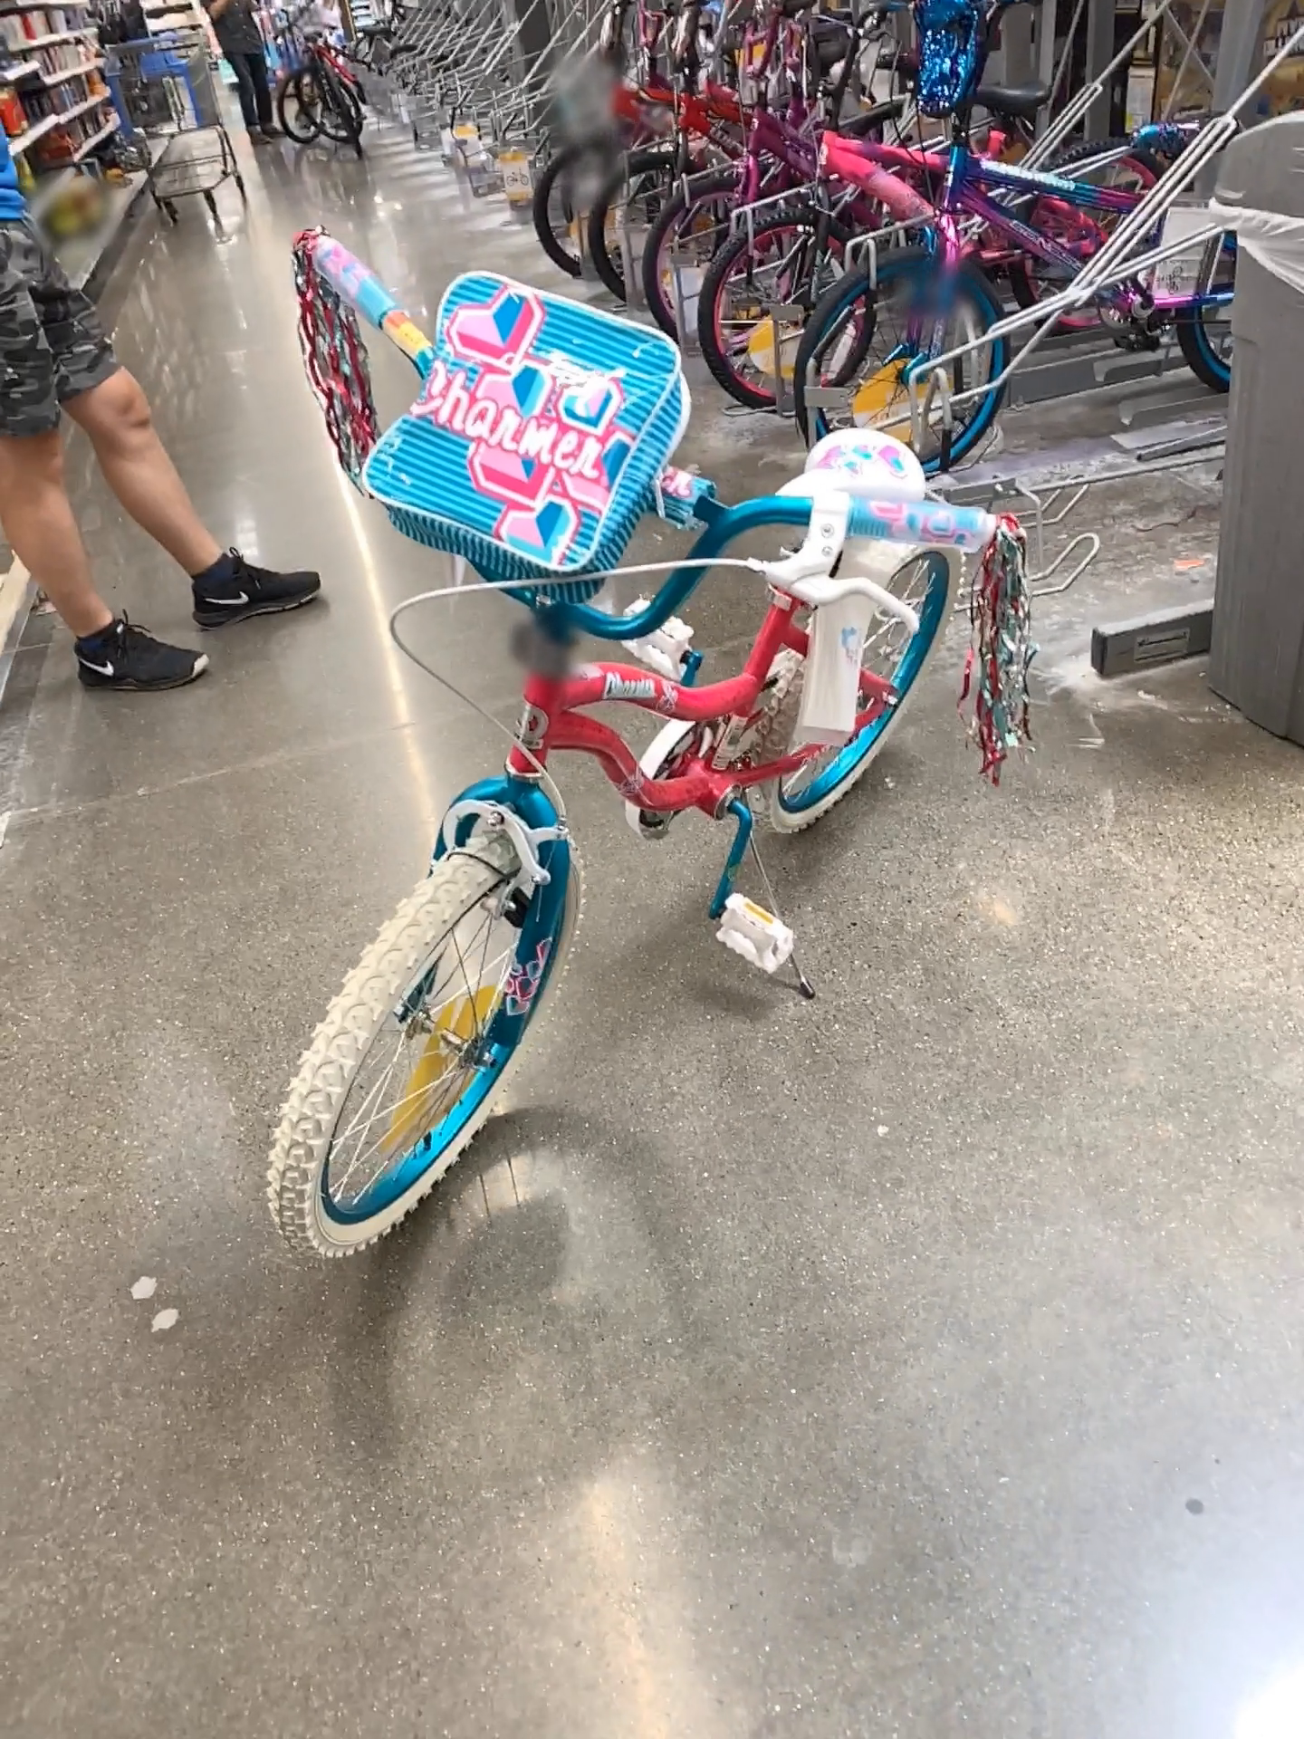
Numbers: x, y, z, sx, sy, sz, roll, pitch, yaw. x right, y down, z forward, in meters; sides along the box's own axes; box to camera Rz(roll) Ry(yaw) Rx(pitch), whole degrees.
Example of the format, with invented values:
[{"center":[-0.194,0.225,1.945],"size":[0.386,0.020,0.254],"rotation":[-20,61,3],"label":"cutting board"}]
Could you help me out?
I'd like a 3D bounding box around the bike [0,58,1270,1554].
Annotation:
[{"center":[0.057,-0.179,1.487],"size":[0.654,0.929,1.264],"rotation":[18,45,34],"label":"bike"}]
